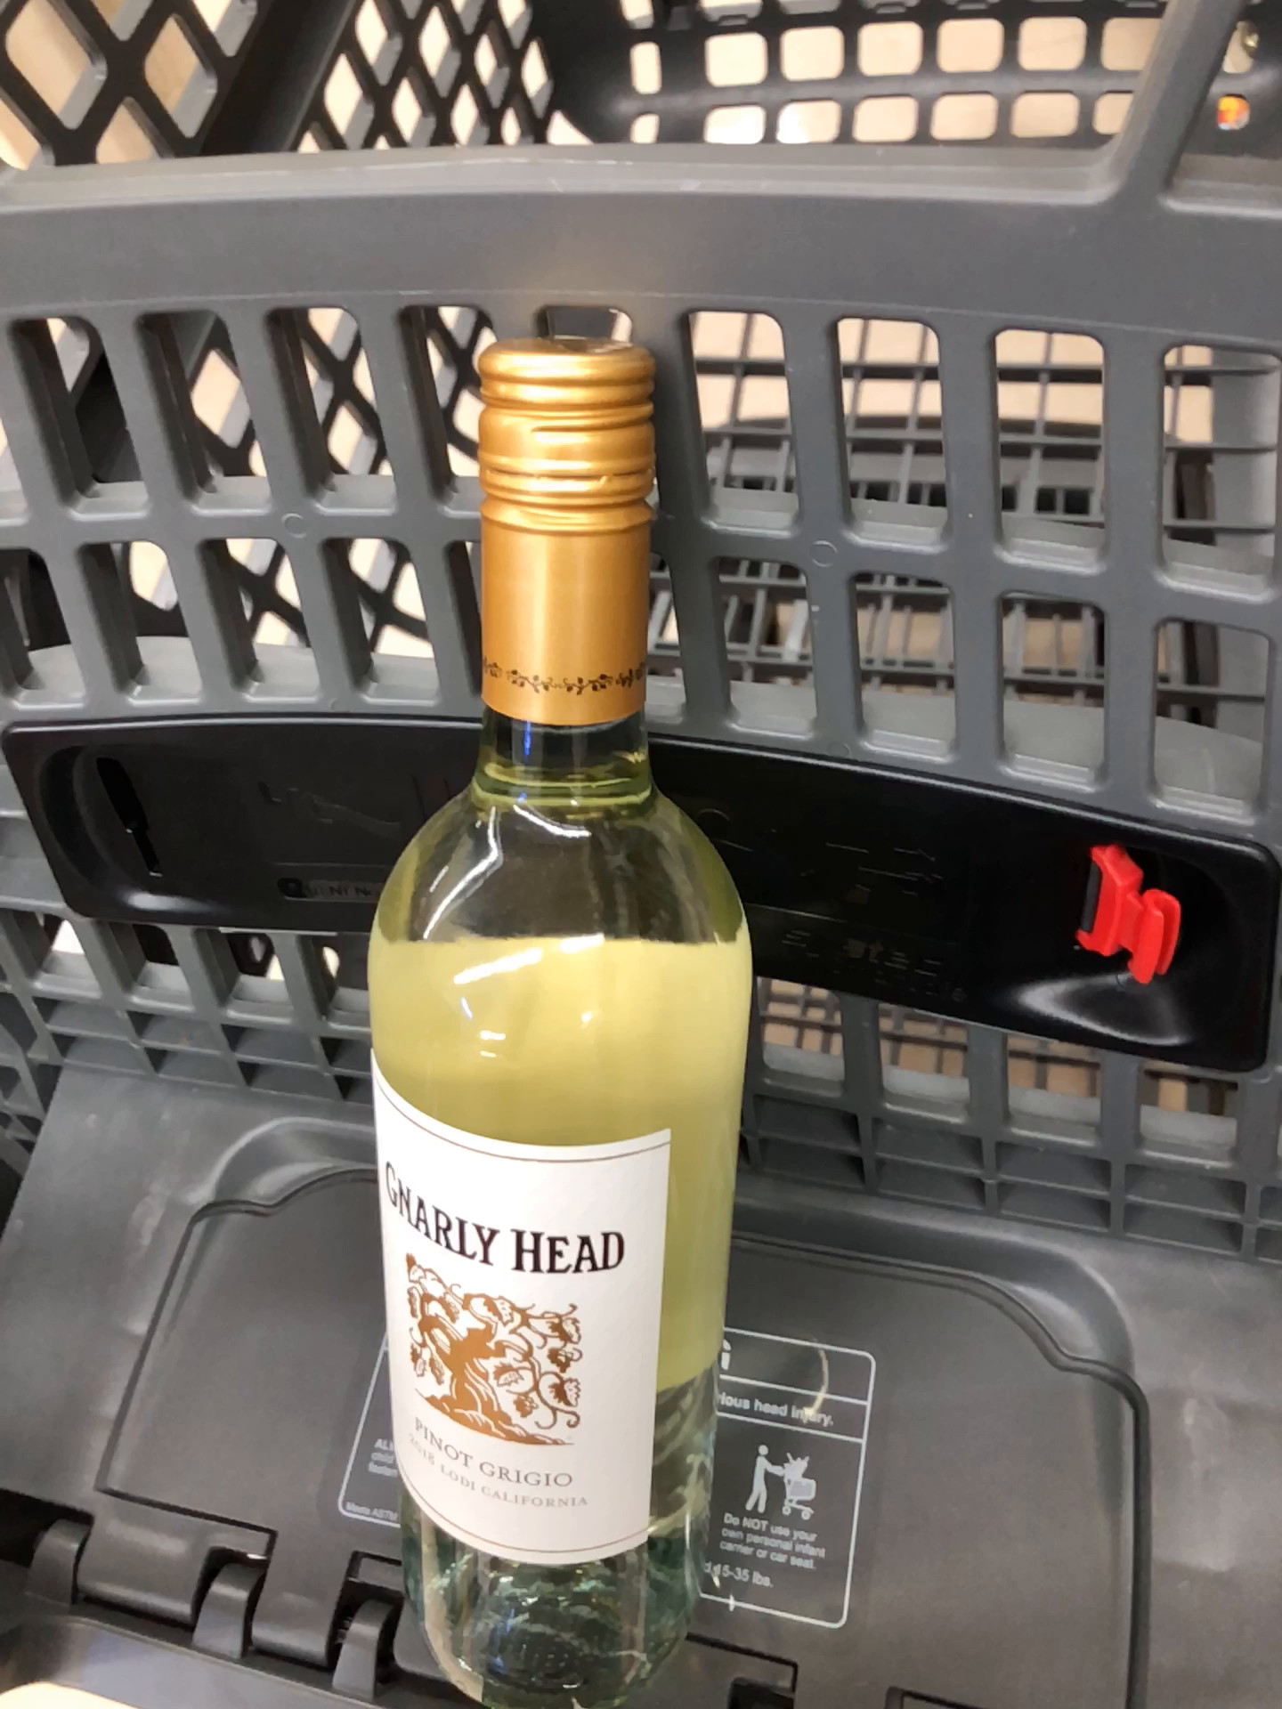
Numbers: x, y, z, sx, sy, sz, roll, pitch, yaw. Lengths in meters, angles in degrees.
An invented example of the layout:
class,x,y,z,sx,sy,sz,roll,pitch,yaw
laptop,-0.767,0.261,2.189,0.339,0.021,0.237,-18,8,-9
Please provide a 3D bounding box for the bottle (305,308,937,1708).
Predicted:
class,x,y,z,sx,sy,sz,roll,pitch,yaw
bottle,-0.008,0.047,0.276,0.080,0.070,0.280,11,113,17
